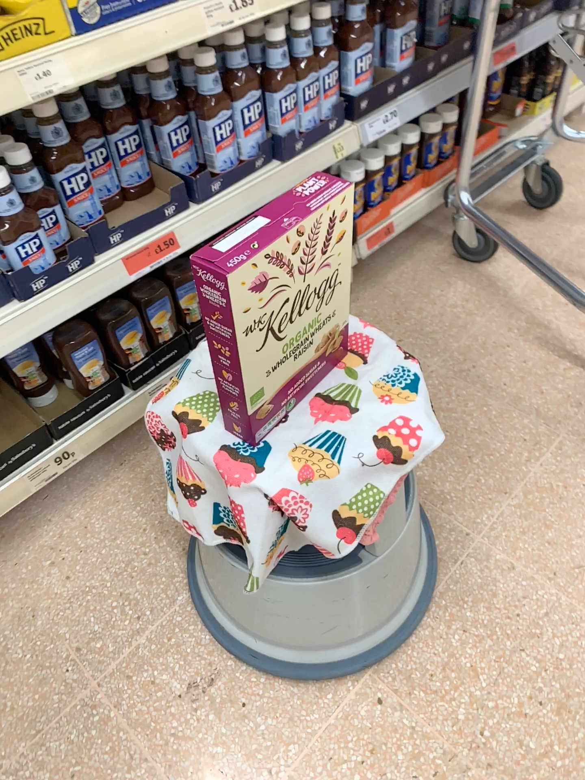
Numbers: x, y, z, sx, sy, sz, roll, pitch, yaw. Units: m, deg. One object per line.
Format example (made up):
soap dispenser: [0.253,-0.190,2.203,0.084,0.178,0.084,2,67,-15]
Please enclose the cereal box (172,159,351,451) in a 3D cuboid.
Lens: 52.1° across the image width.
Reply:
cereal box: [-0.015,-0.086,0.652,0.050,0.248,0.201,29,55,28]
